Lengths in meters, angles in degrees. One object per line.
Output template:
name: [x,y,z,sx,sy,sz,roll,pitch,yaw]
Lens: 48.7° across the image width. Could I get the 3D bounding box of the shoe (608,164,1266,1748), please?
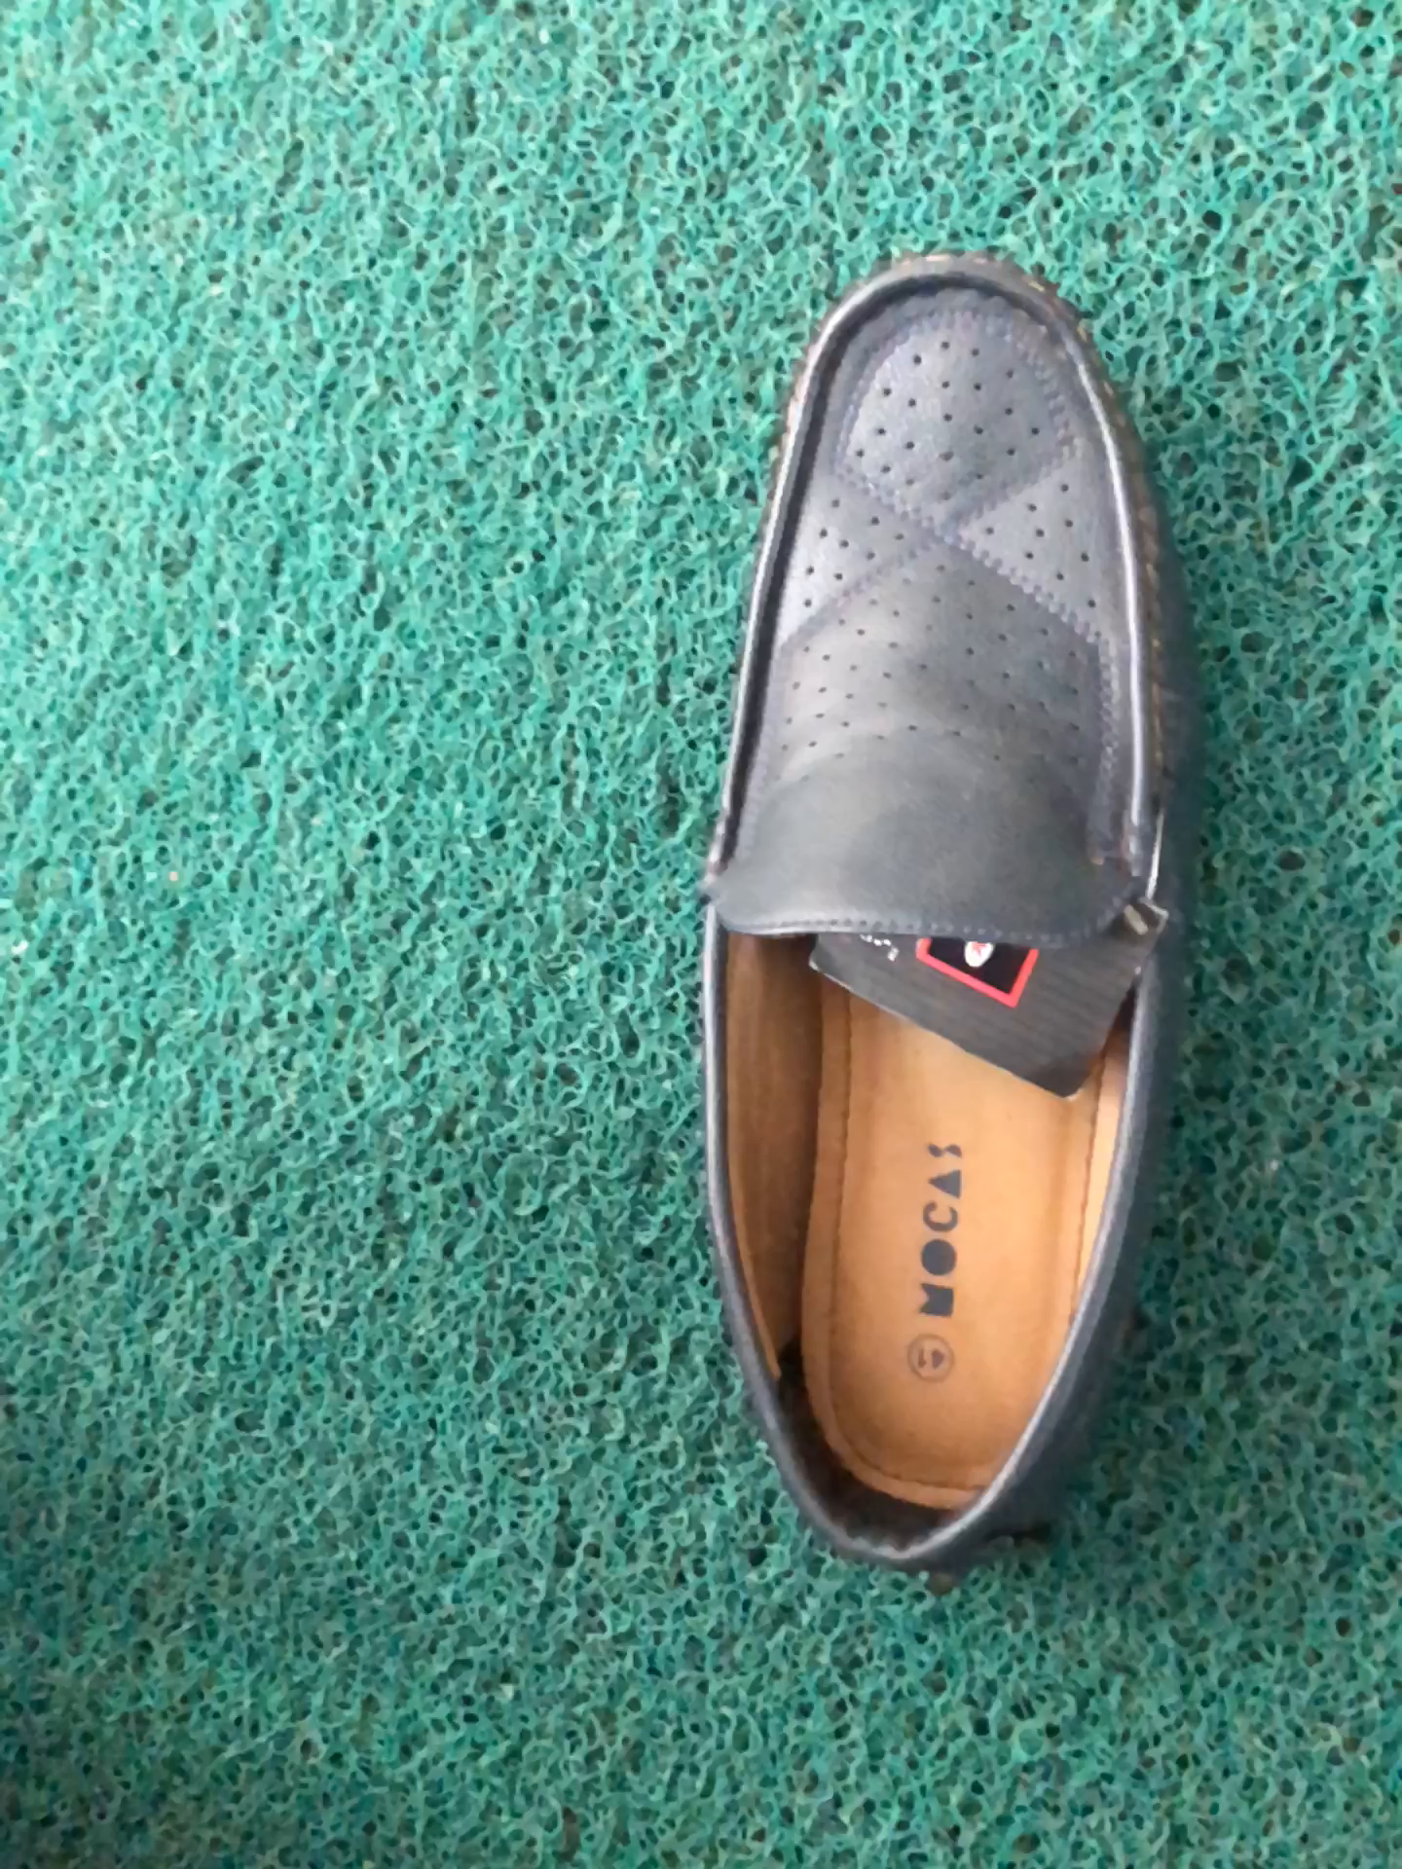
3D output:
shoe: [0.051,0.001,0.321,0.100,0.070,0.280,5,90,17]
